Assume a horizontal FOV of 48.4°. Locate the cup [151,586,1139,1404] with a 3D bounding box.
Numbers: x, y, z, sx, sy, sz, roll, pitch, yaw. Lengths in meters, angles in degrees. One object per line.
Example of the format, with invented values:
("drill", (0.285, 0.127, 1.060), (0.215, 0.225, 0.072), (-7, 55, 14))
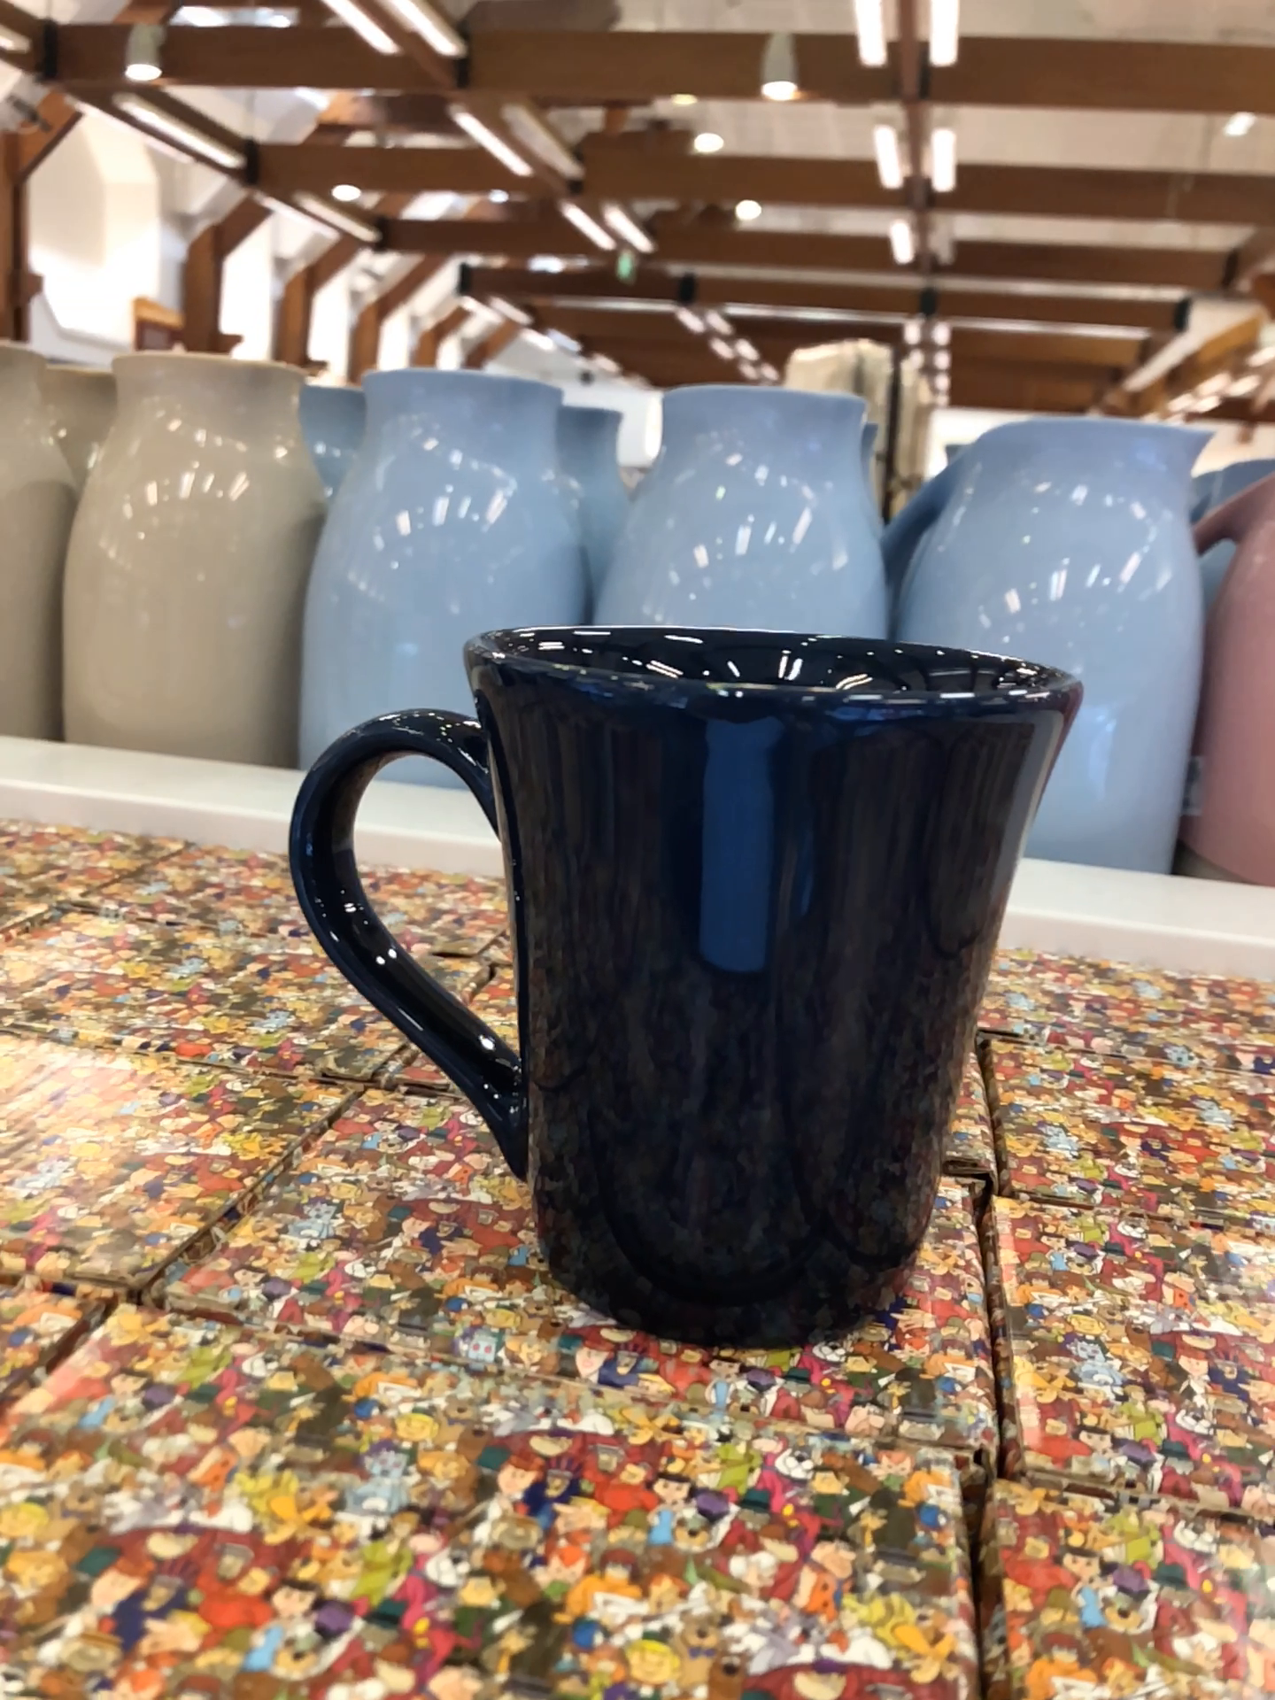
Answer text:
("cup", (0.003, 0.010, 0.228), (0.120, 0.090, 0.100), (6, 13, 8))
